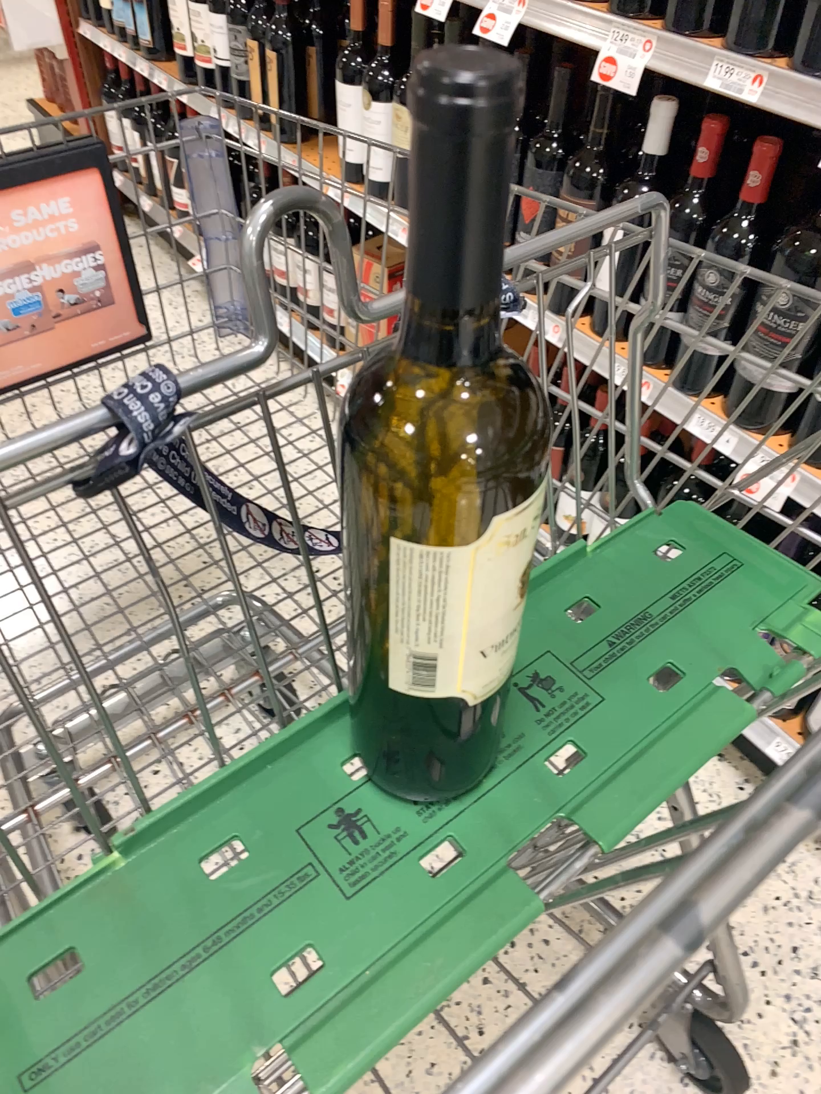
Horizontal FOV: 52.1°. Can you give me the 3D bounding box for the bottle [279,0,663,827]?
[{"bbox_3d":[0.017,-0.017,0.311,0.070,0.307,0.081,16,47,15],"label":"bottle"}]
